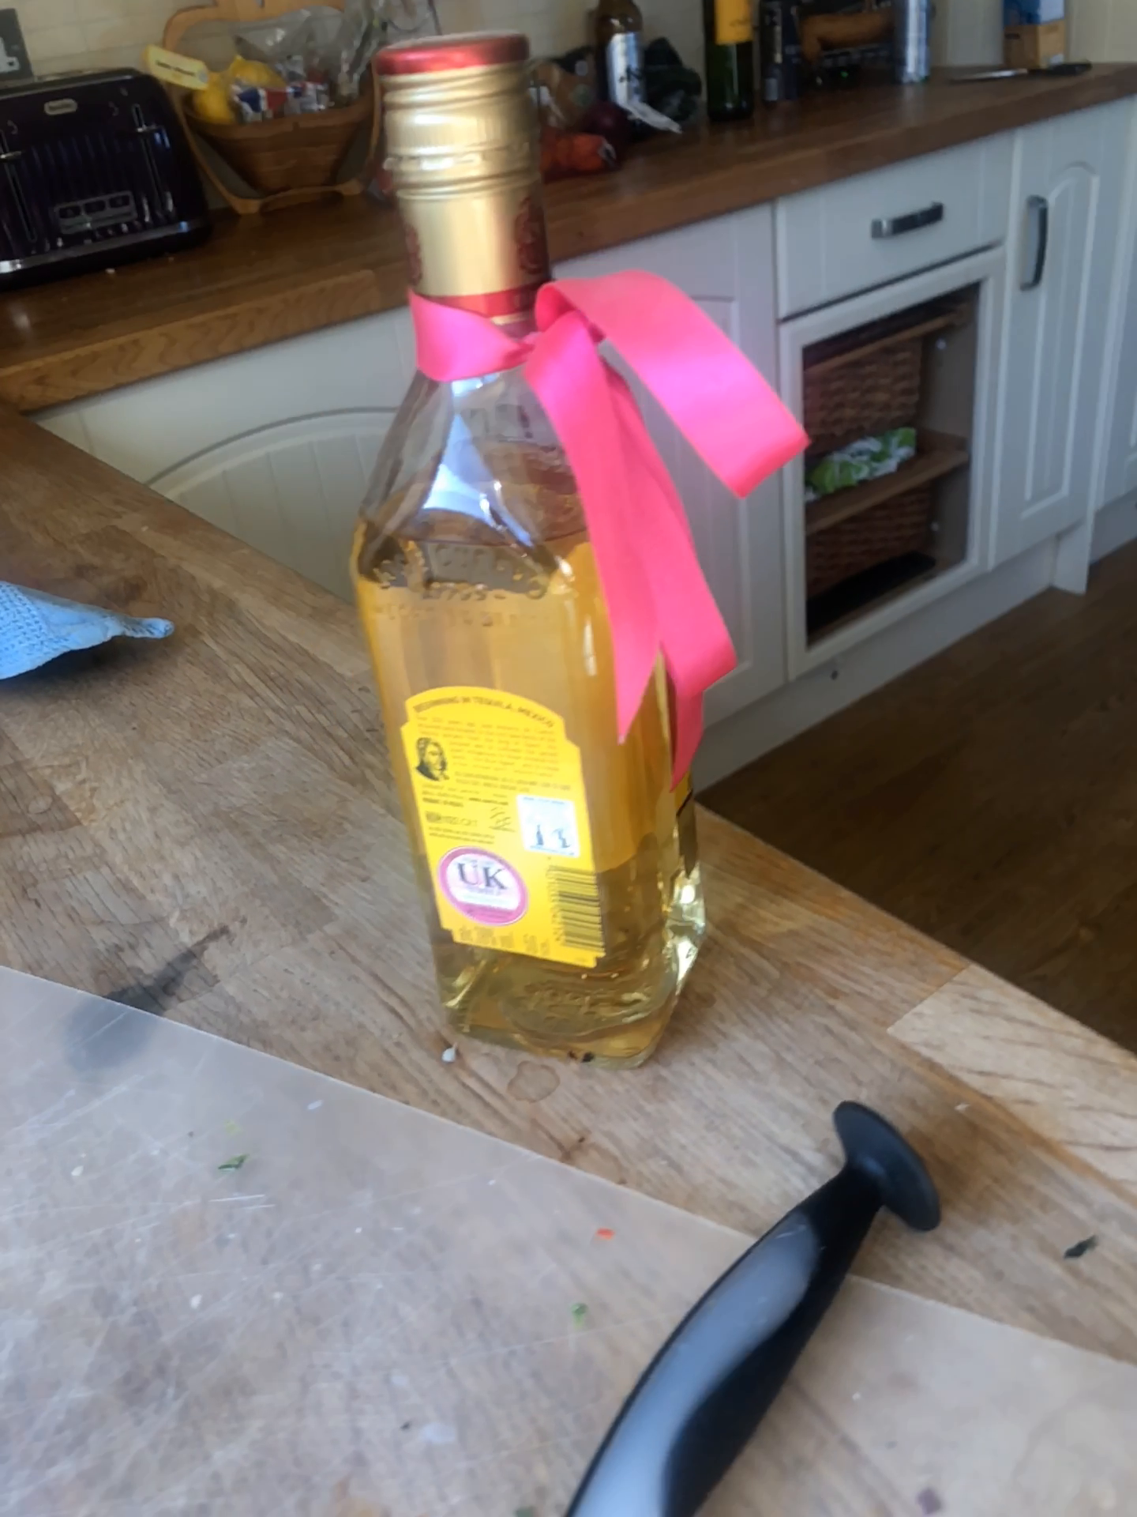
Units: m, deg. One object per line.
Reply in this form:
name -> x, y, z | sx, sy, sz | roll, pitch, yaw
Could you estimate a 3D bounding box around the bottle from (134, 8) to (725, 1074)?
bottle -> -0.016, -0.039, 0.298 | 0.080, 0.228, 0.071 | 5, 34, 20
